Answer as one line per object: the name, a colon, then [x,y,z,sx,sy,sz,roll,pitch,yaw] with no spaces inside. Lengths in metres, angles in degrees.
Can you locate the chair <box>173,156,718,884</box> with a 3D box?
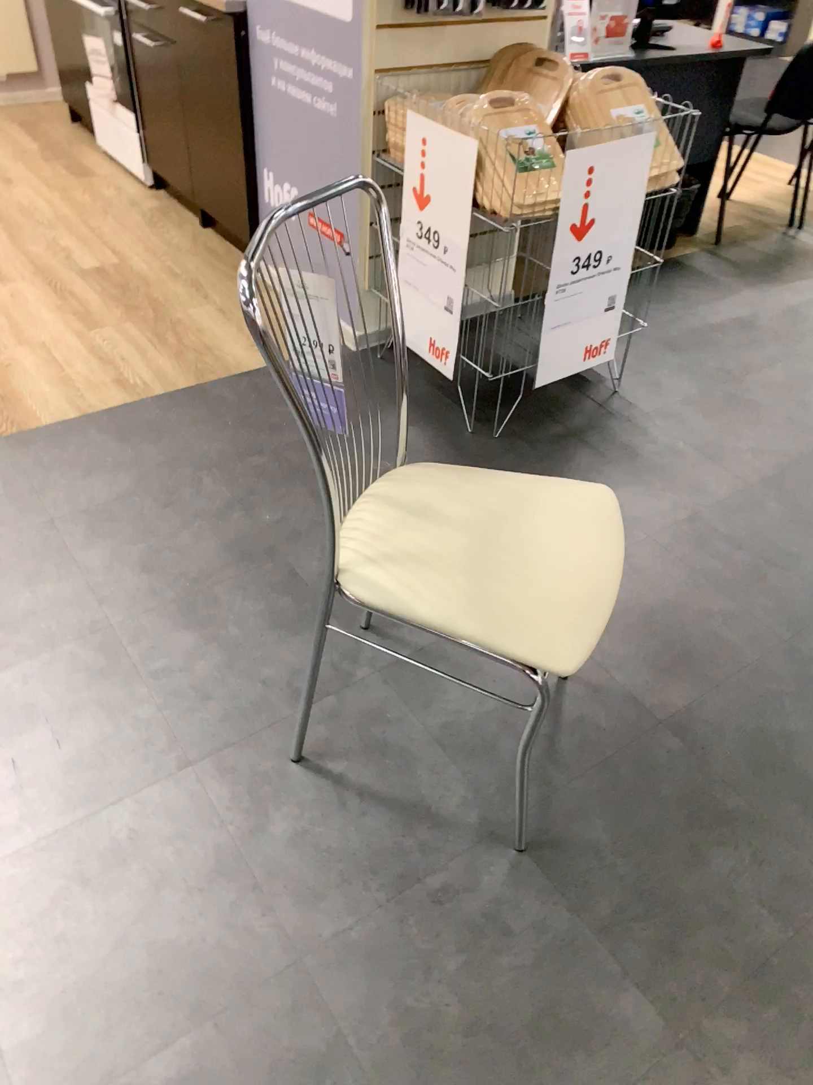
chair: [0.055,-0.002,1.334,0.552,0.964,0.474,16,42,13]
